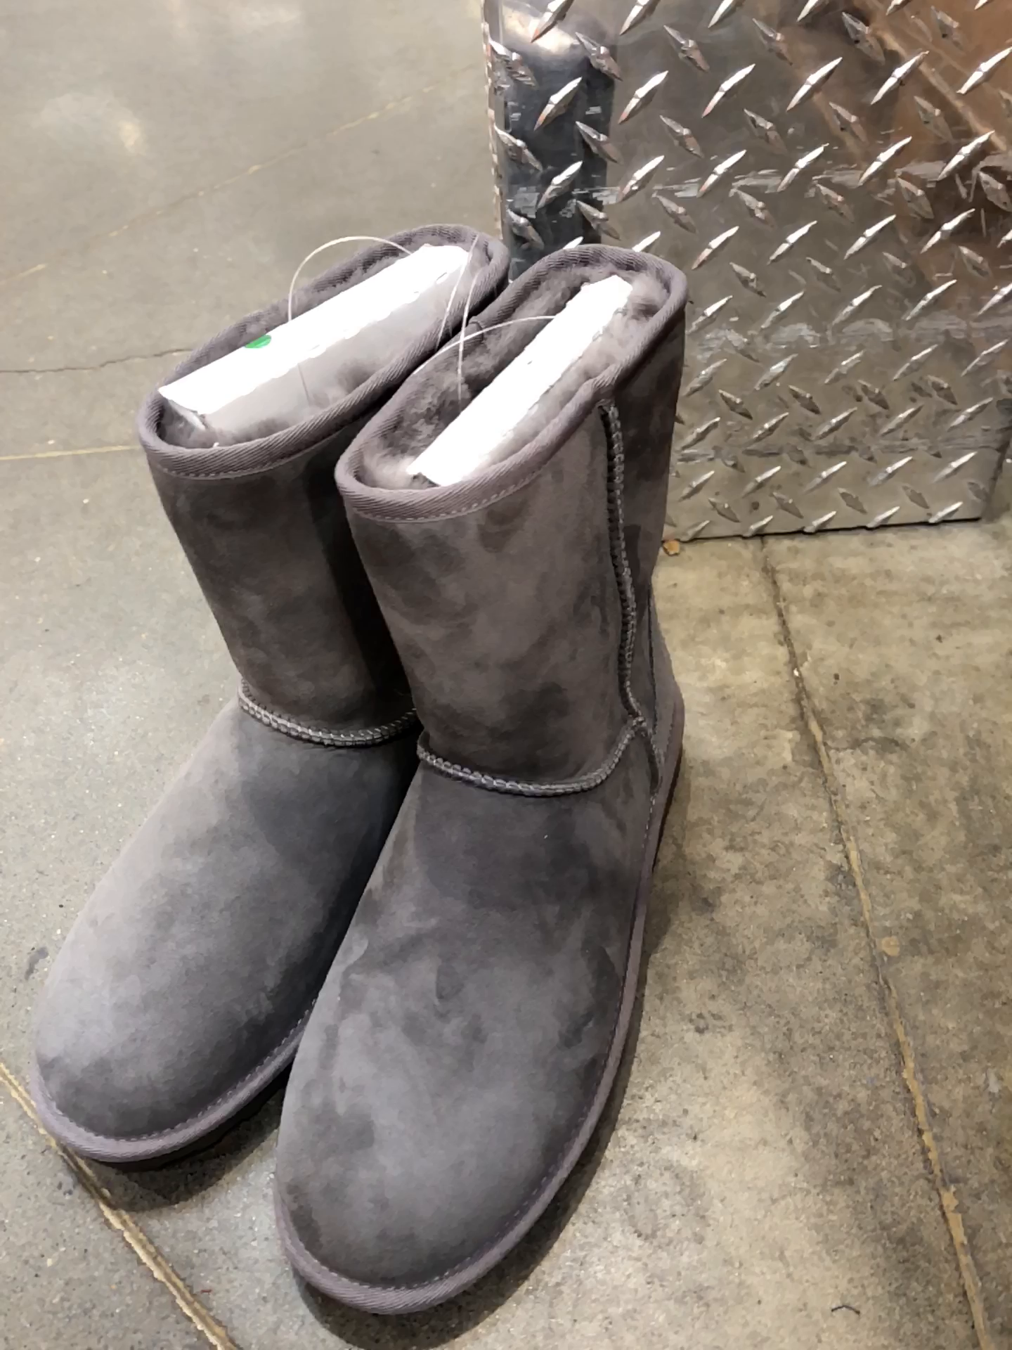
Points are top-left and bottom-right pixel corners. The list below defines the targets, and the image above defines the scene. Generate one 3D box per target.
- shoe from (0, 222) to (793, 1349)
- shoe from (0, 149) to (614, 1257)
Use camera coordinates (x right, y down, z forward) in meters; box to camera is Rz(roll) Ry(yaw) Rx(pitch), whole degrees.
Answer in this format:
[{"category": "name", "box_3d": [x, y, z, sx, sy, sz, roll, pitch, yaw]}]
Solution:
[{"category": "shoe", "box_3d": [-0.010, 0.040, 0.357, 0.110, 0.239, 0.271, 15, 50, 17]}, {"category": "shoe", "box_3d": [-0.083, 0.003, 0.392, 0.120, 0.239, 0.281, 23, 53, 23]}]
